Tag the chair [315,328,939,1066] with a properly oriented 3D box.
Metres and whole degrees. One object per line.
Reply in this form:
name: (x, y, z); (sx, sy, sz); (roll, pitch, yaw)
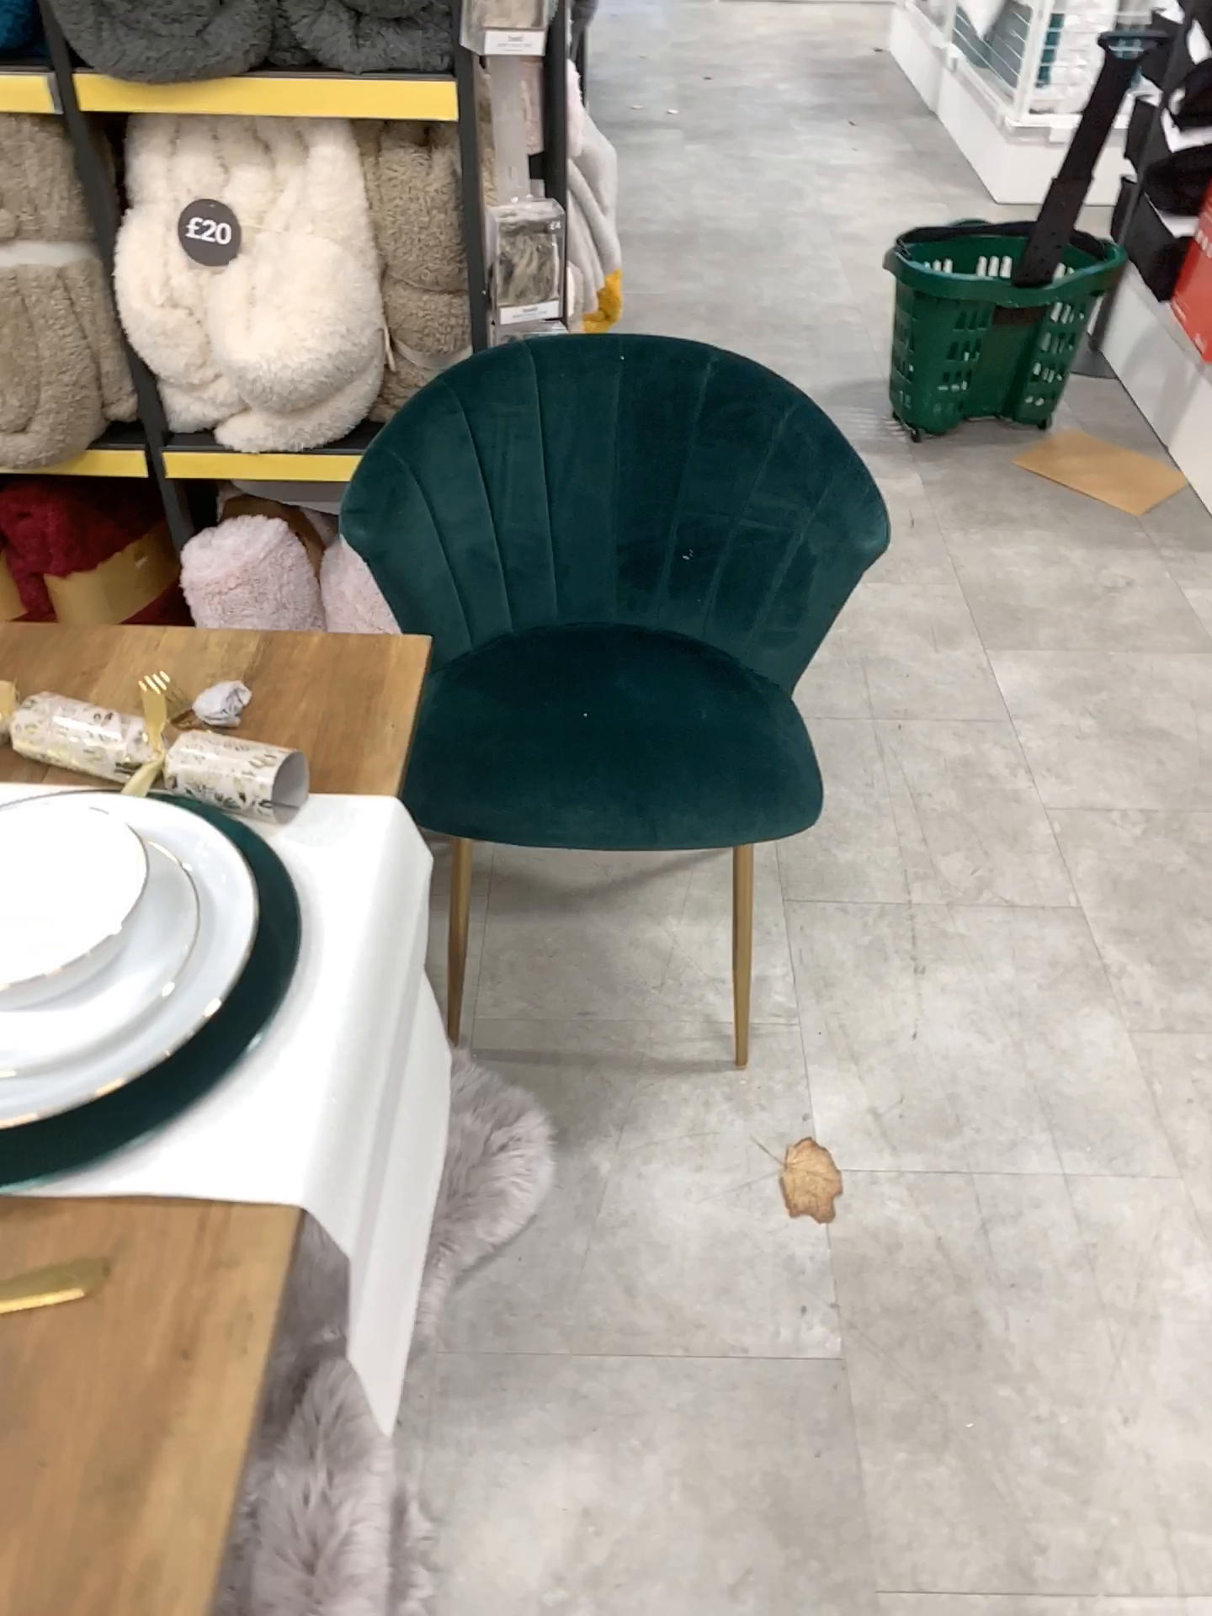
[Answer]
chair: (0.020, -0.133, 1.519); (0.547, 0.692, 0.575); (1, 42, 1)
